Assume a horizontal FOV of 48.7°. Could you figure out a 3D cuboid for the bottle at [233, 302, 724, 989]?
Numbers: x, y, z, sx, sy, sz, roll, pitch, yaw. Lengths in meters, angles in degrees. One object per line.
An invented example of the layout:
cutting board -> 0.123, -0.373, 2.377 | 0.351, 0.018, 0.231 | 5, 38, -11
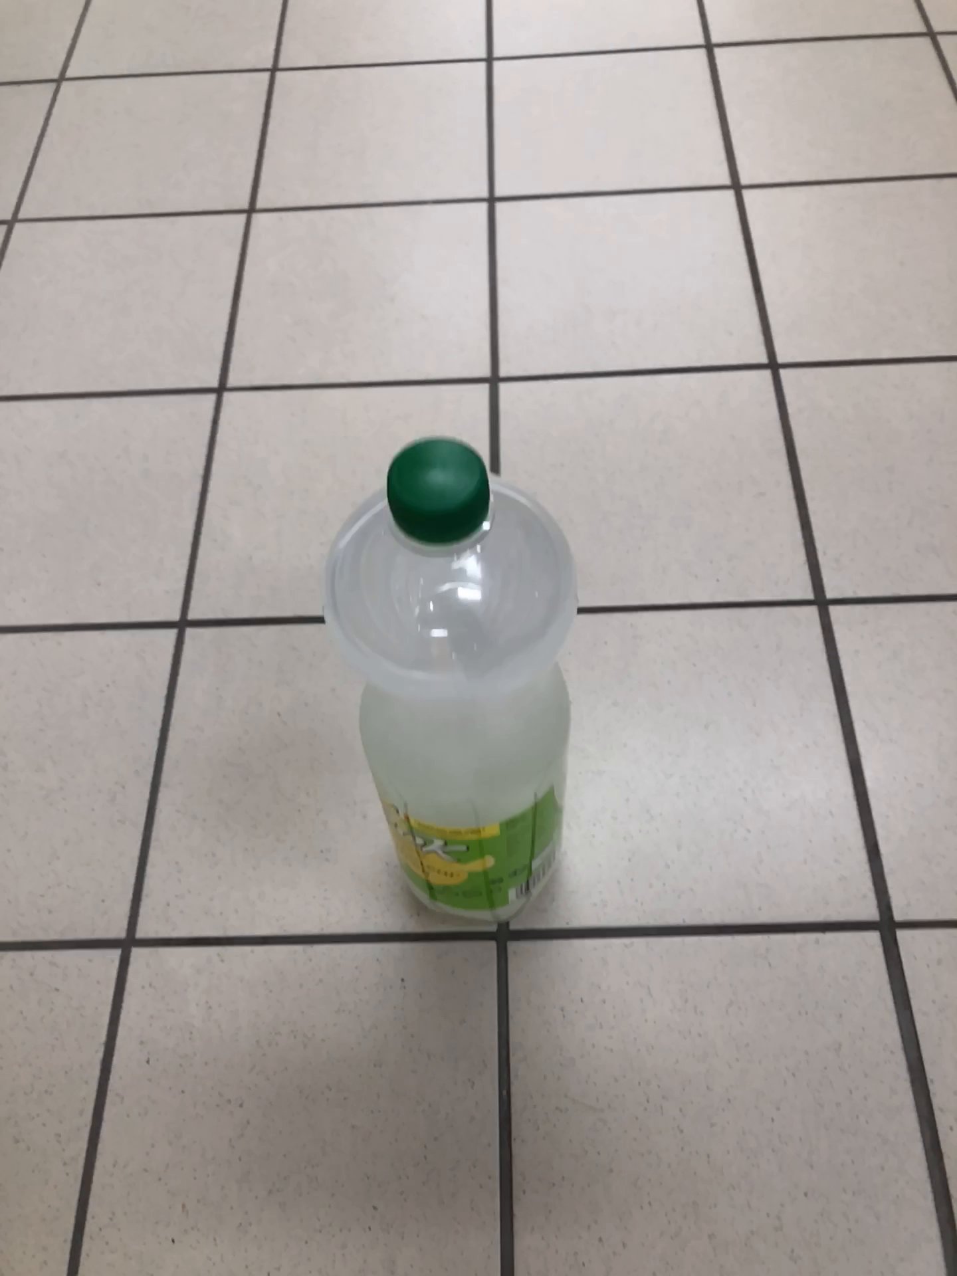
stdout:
bottle -> 0.006, 0.034, 0.431 | 0.100, 0.308, 0.100 | -2, 58, 3
